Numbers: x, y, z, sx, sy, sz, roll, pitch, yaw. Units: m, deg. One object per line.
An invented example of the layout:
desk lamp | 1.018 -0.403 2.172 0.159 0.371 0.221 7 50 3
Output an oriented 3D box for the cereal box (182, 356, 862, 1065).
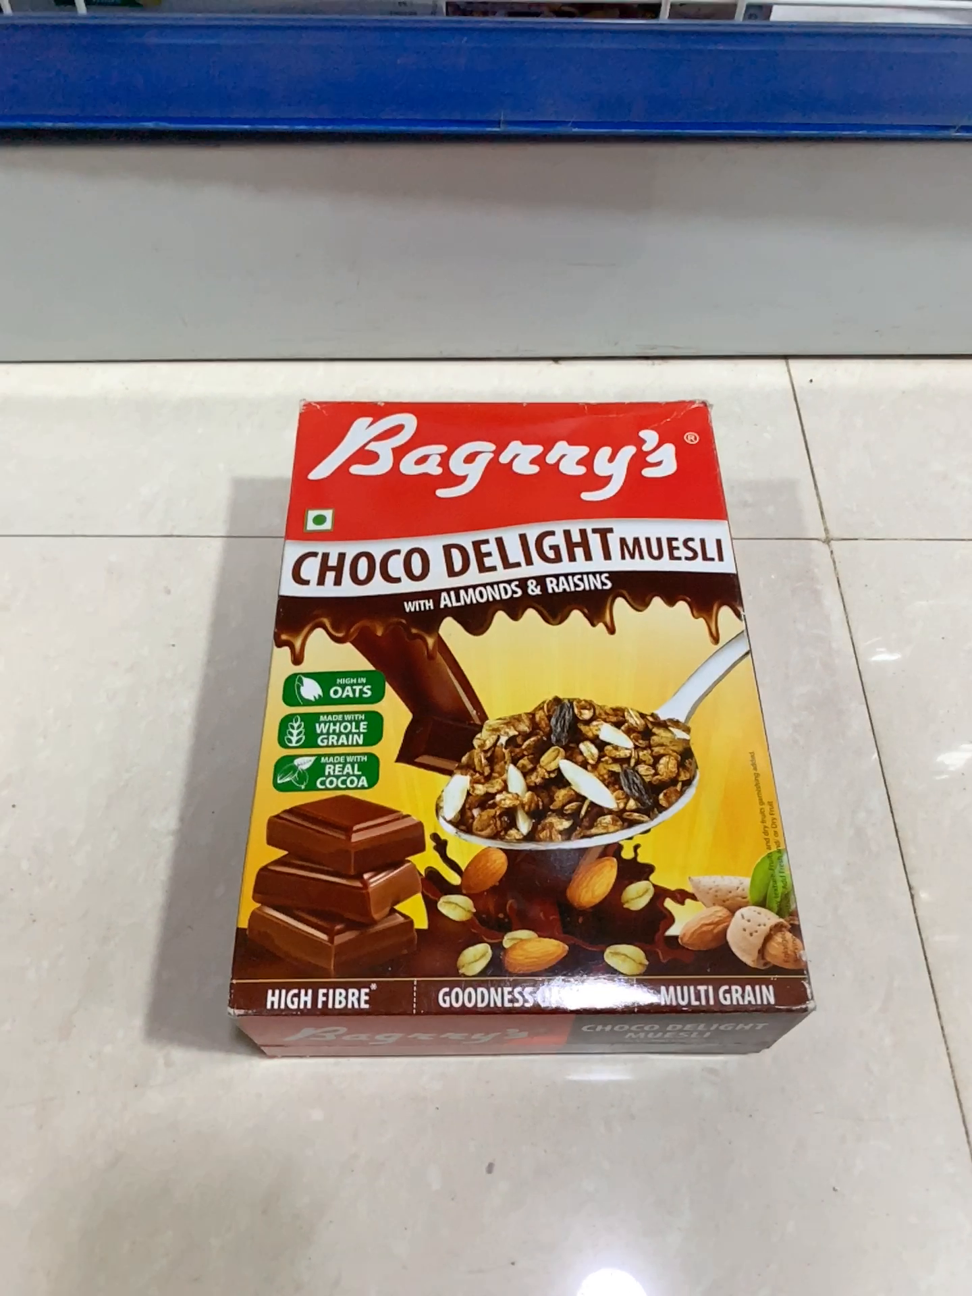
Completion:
cereal box | 0.010 0.011 0.402 0.200 0.080 0.281 0 58 -1
